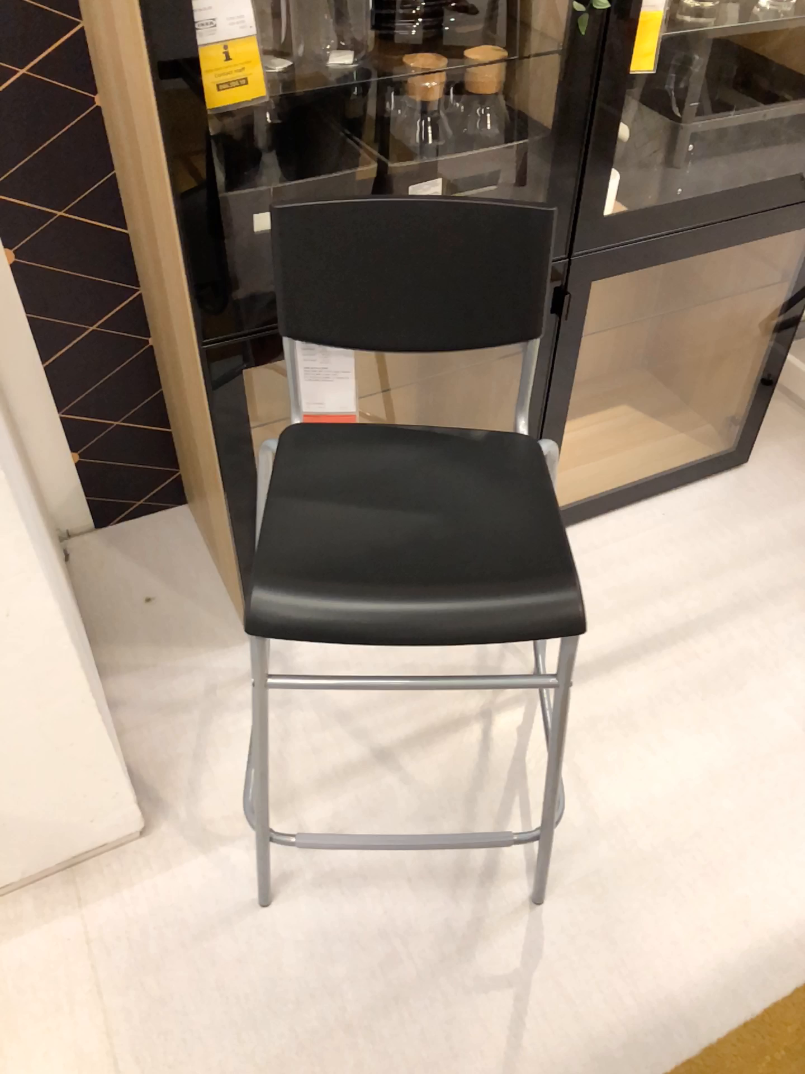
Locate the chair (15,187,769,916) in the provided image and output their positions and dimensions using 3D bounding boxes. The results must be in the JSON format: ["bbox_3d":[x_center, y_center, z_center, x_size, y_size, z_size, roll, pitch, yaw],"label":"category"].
[{"bbox_3d":[-0.010,0.058,1.074,0.540,0.765,0.483,1,45,0],"label":"chair"}]
